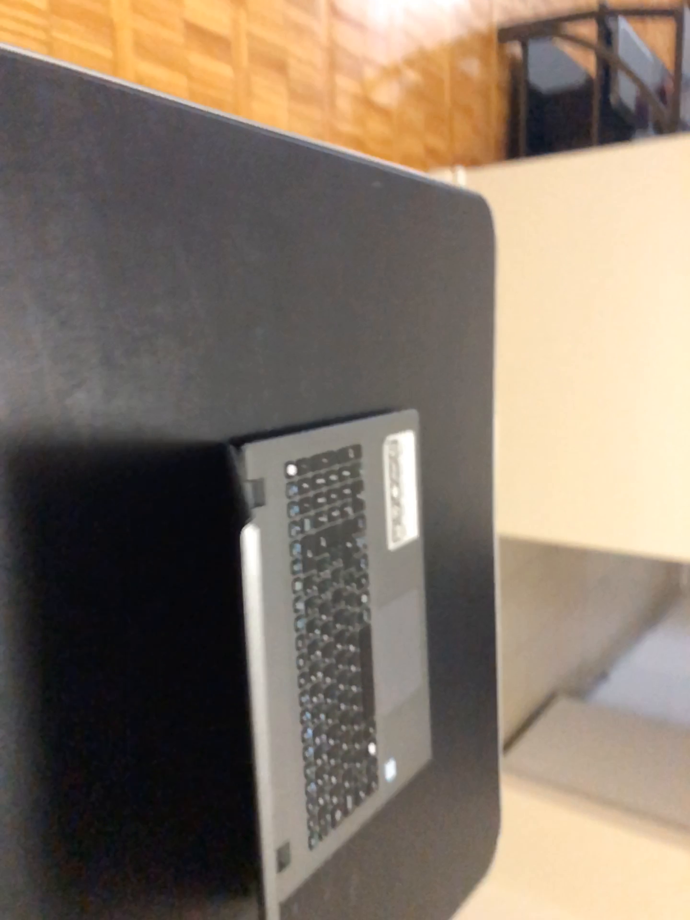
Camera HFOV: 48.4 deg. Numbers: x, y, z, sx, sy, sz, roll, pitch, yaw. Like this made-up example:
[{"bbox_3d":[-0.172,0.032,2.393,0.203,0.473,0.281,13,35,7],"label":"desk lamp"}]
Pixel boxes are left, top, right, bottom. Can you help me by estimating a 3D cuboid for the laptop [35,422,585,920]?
[{"bbox_3d":[0.029,0.183,0.580,0.432,0.161,0.374,-15,106,-53],"label":"laptop"}]
